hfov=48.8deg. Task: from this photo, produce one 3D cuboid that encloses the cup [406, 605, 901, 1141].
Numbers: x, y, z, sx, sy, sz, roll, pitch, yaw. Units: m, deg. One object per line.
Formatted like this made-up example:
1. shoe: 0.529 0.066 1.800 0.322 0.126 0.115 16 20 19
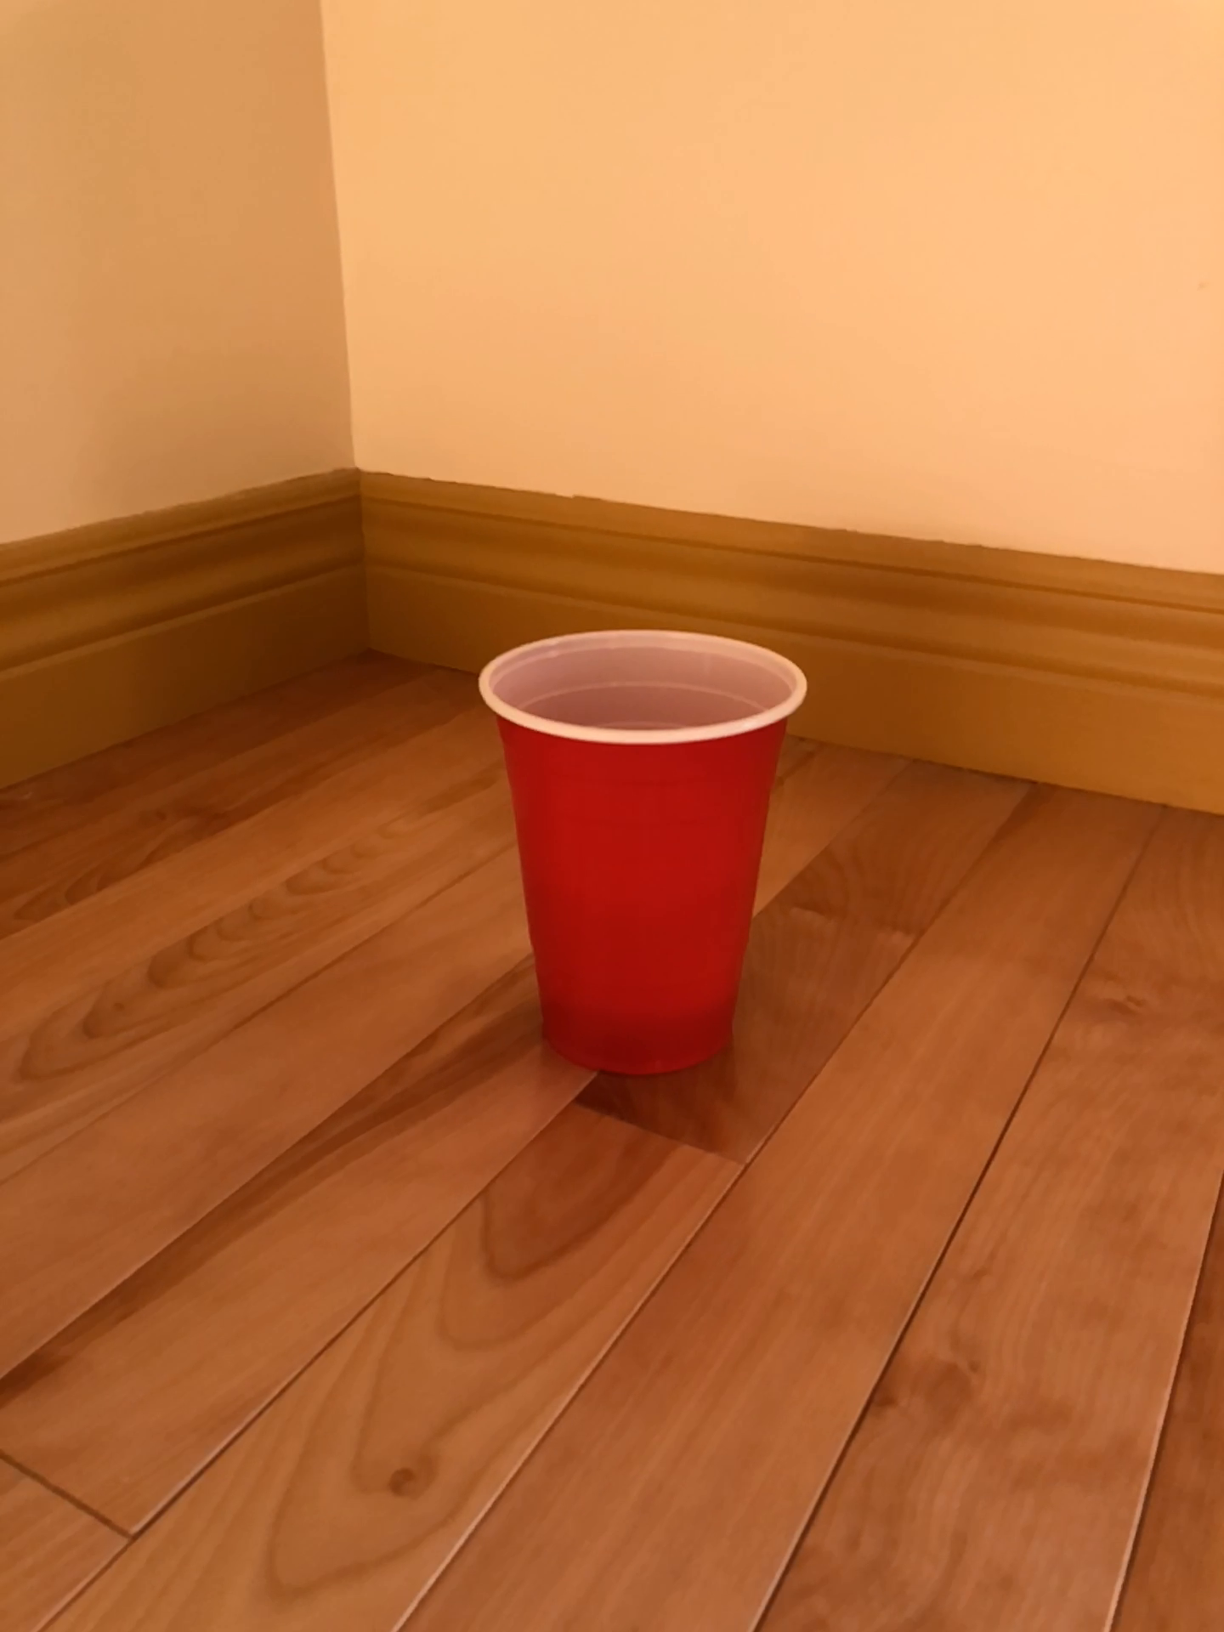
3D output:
1. cup: 0.010 0.009 0.404 0.100 0.109 0.100 -1 23 0
